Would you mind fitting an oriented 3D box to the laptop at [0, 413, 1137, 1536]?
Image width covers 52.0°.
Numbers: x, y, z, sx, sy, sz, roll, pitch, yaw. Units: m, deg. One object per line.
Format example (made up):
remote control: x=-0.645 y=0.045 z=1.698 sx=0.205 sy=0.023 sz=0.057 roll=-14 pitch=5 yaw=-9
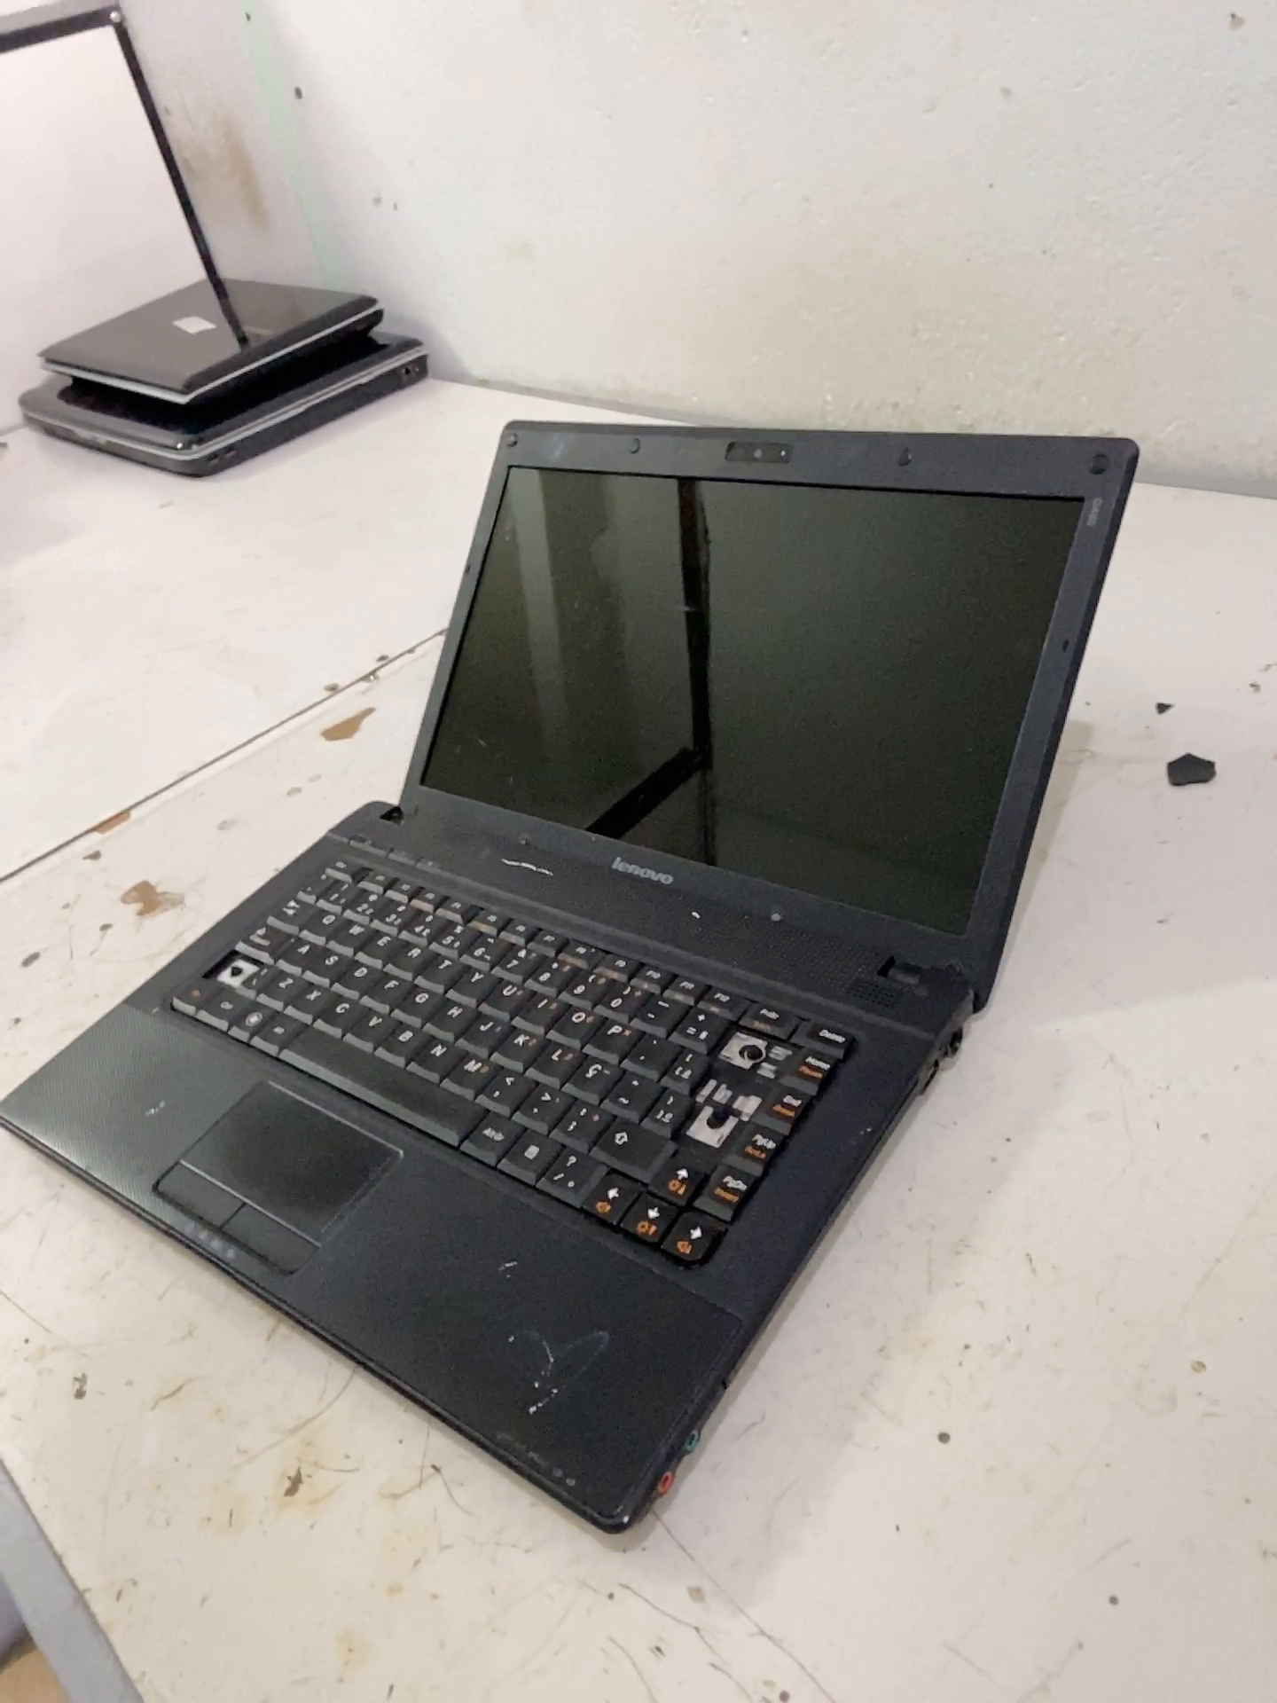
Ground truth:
laptop: x=-0.044 y=-0.026 z=0.559 sx=0.358 sy=0.147 sz=0.424 roll=15 pitch=46 yaw=36
